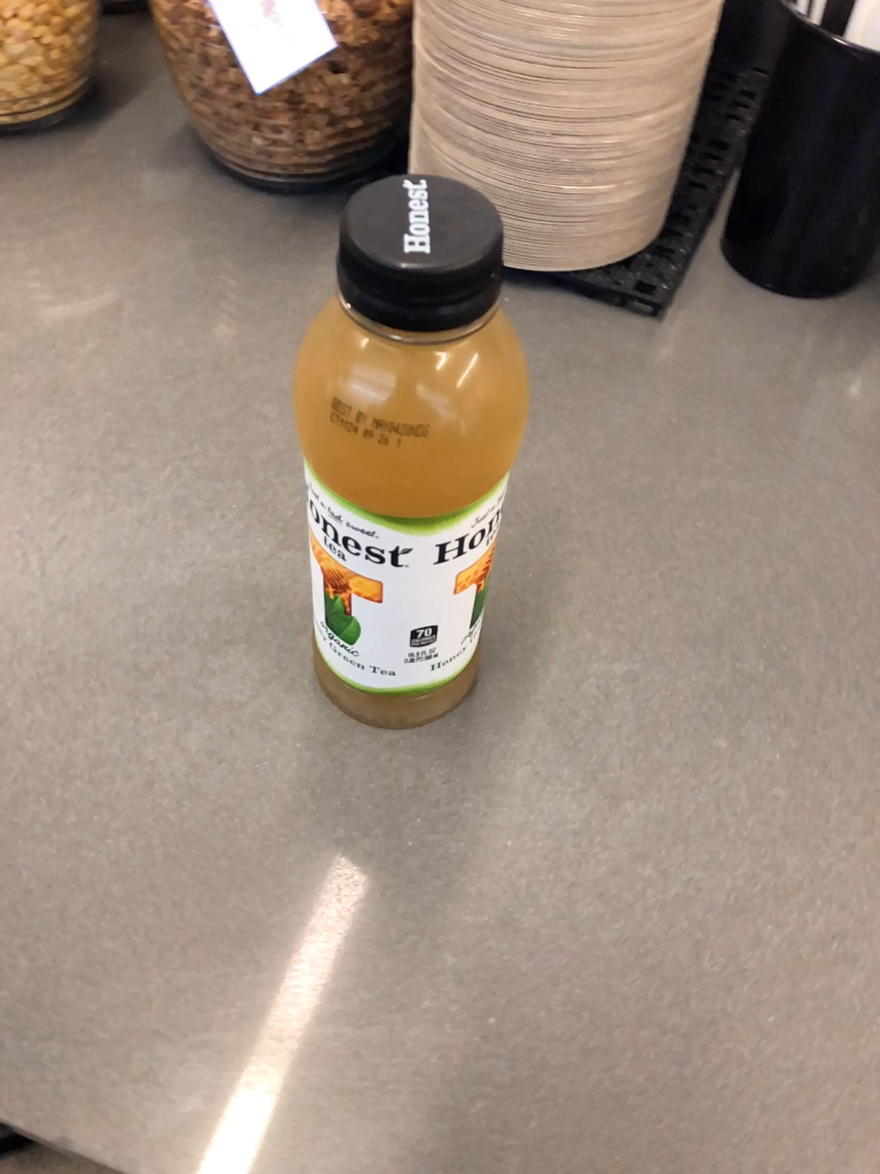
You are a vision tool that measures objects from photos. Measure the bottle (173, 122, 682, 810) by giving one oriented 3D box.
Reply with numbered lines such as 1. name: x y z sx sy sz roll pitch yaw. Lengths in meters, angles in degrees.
1. bottle: -0.008 -0.026 0.319 0.090 0.189 0.090 2 53 -3
